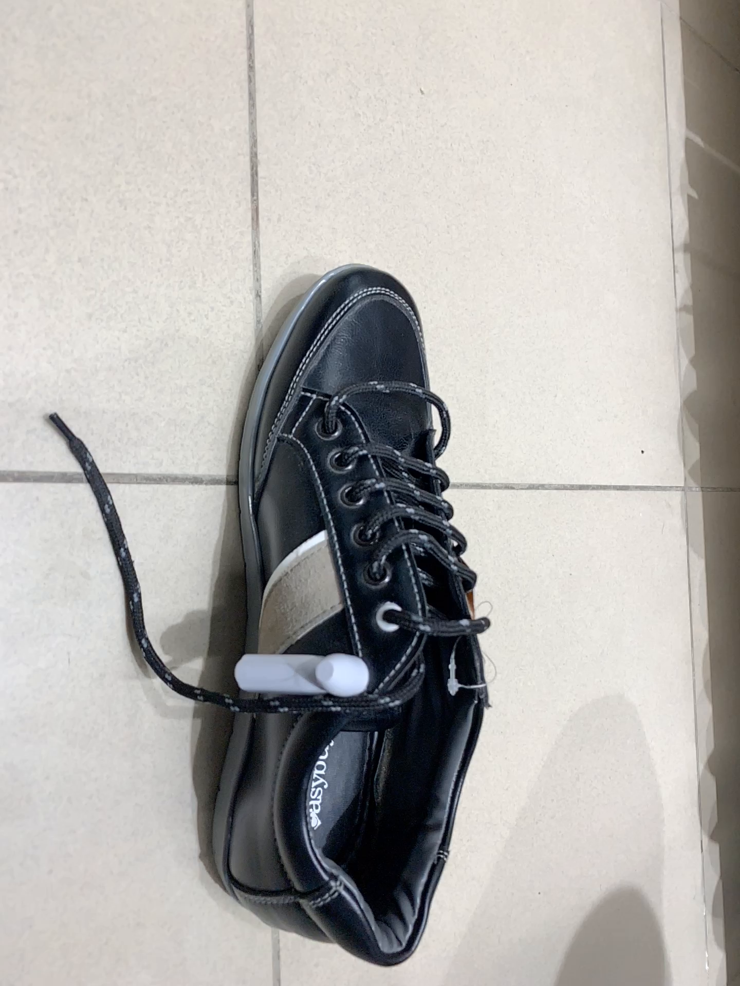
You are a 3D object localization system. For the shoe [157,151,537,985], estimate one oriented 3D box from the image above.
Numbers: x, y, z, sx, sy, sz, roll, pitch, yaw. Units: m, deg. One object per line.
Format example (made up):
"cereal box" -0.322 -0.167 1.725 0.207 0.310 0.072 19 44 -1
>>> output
"shoe" -0.004 0.032 0.322 0.101 0.090 0.300 12 79 -41
